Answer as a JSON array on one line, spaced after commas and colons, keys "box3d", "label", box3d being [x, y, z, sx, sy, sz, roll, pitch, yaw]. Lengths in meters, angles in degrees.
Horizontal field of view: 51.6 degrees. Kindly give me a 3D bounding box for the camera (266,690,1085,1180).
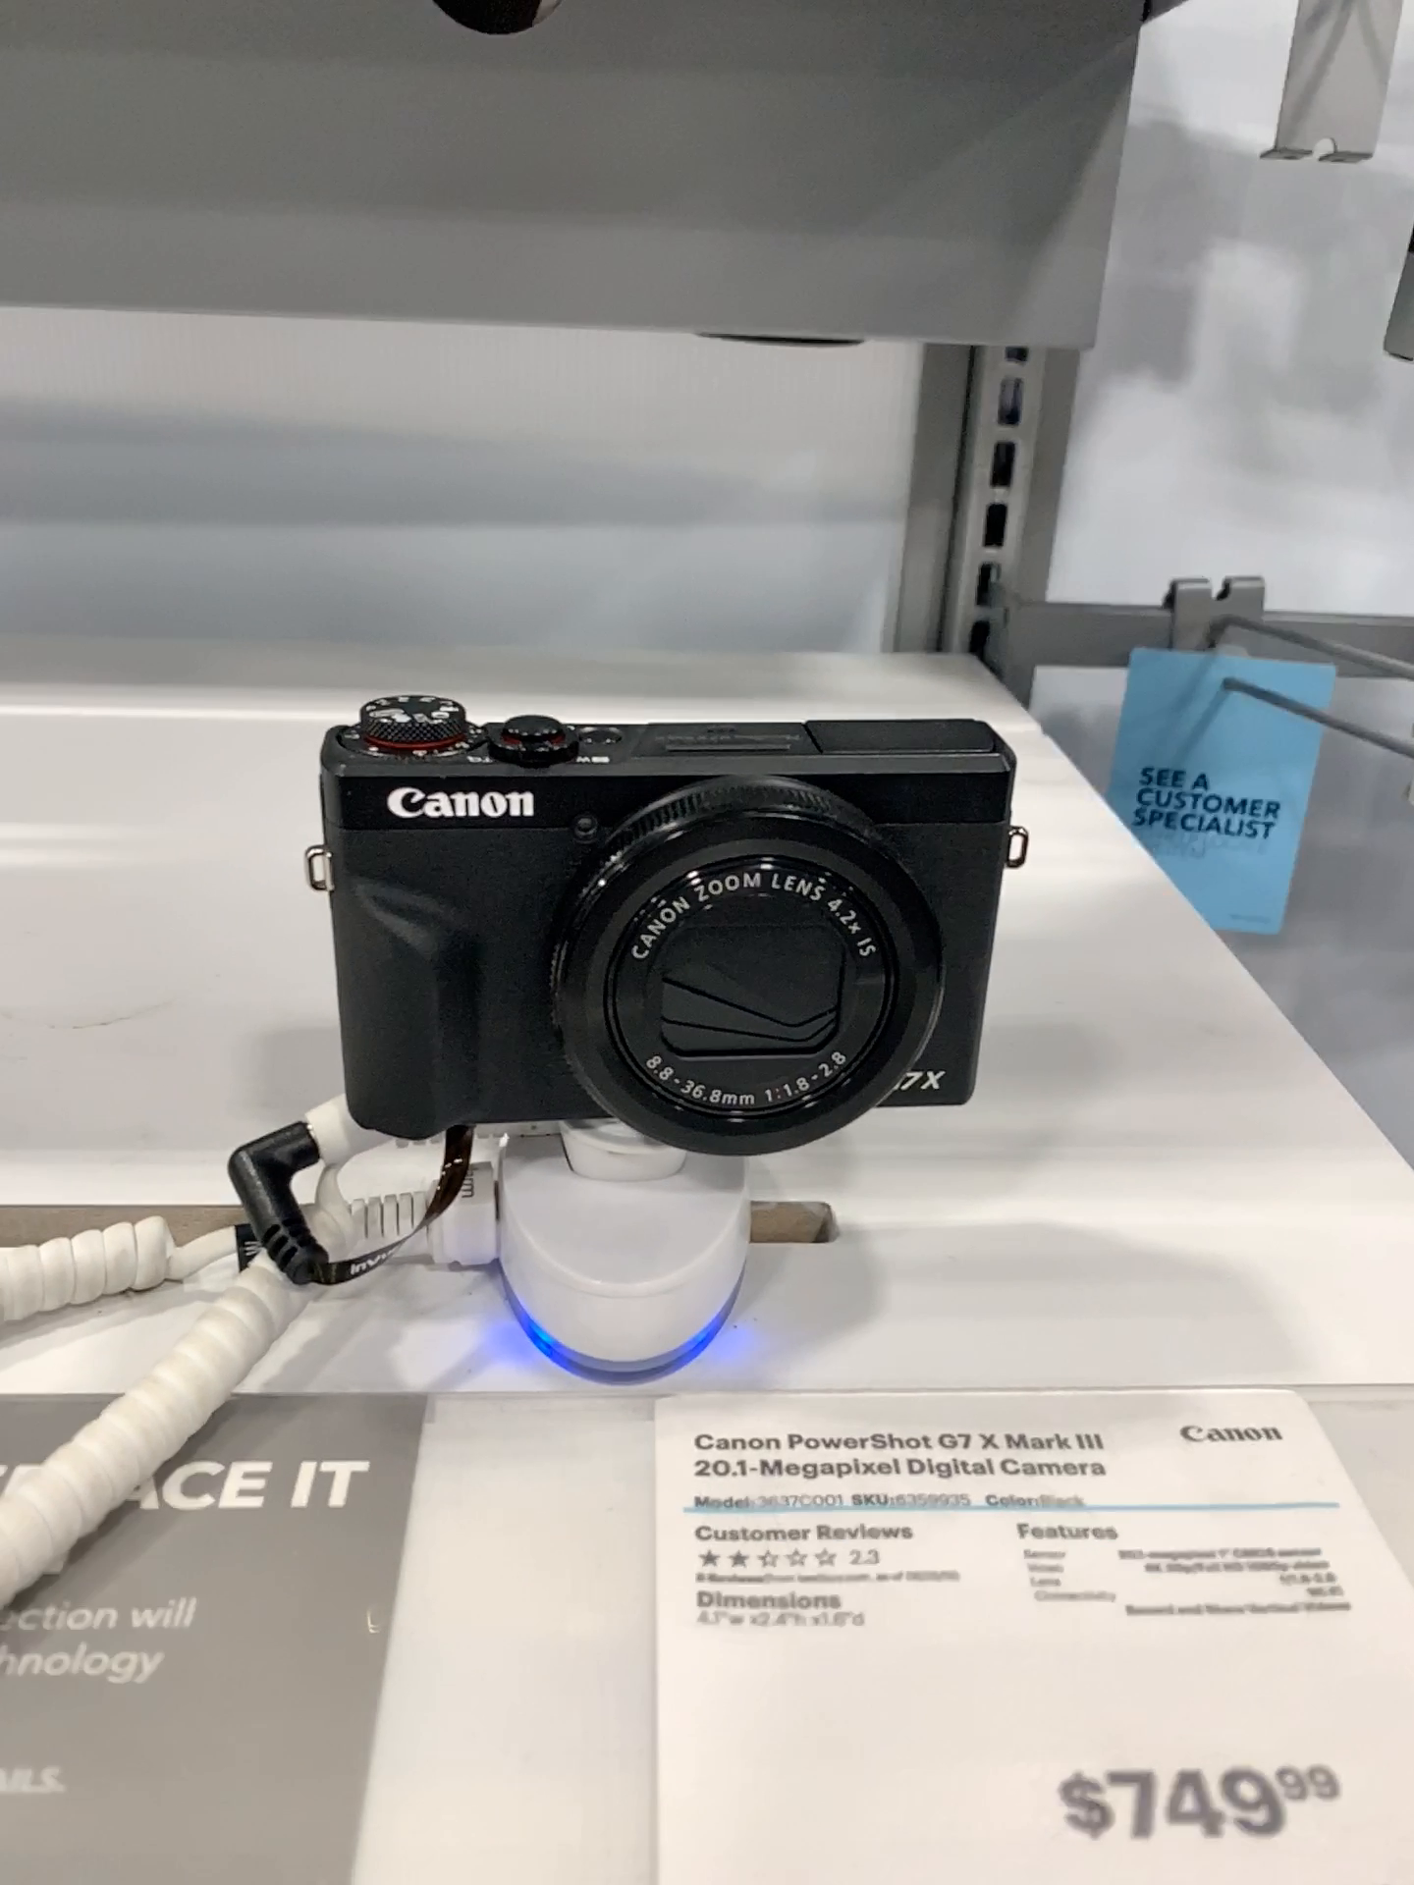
[{"box3d": [-0.006, -0.002, 0.226, 0.110, 0.062, 0.040, 0, 24, -8], "label": "camera"}]
